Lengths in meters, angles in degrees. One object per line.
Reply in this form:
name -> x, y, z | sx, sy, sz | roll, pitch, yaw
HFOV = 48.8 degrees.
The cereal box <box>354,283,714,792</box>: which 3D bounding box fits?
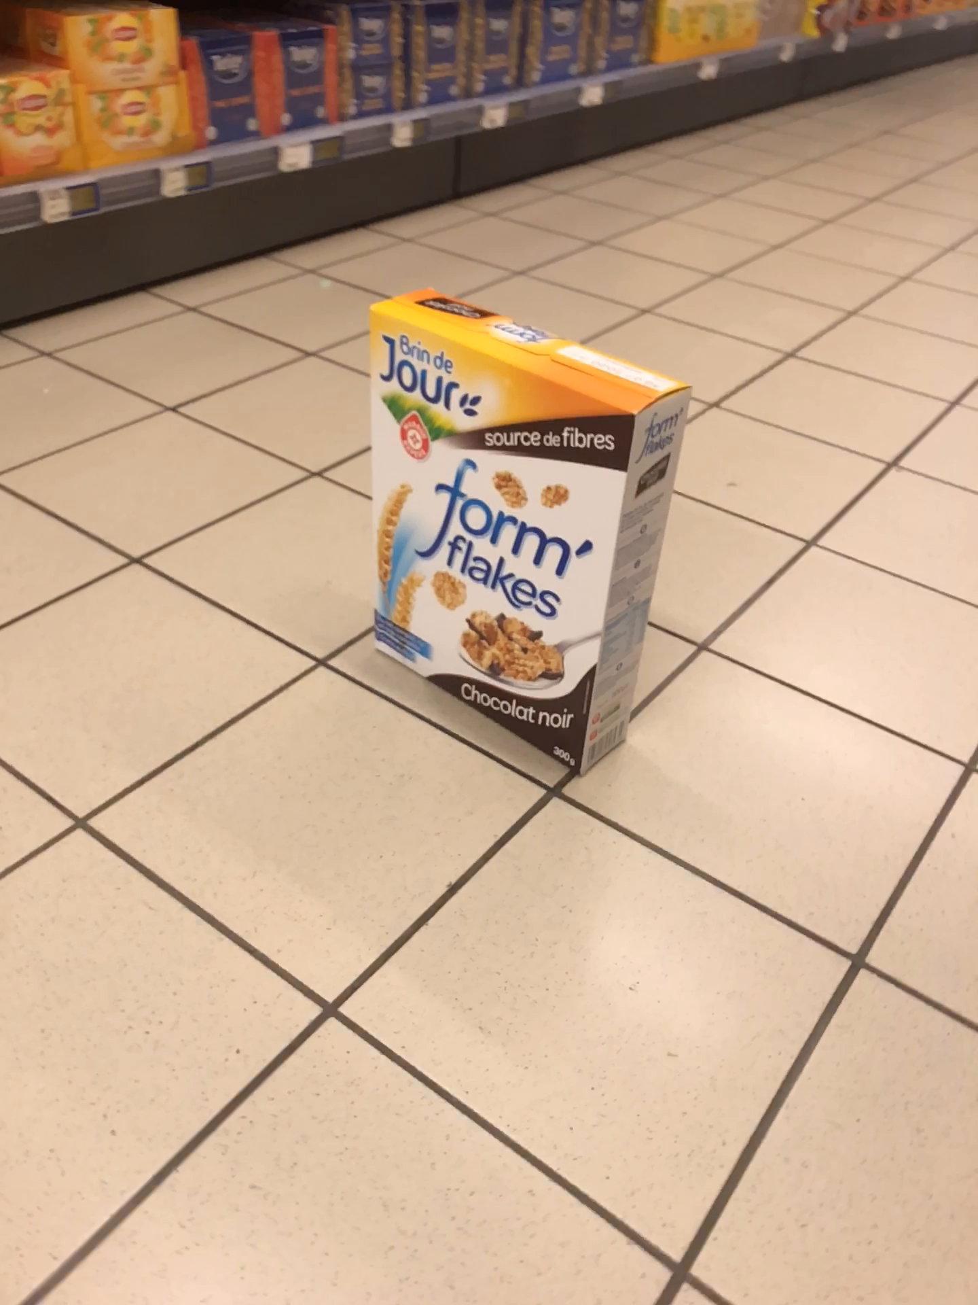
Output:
cereal box -> 0.013, -0.071, 0.666 | 0.200, 0.248, 0.070 | 29, 43, 30
